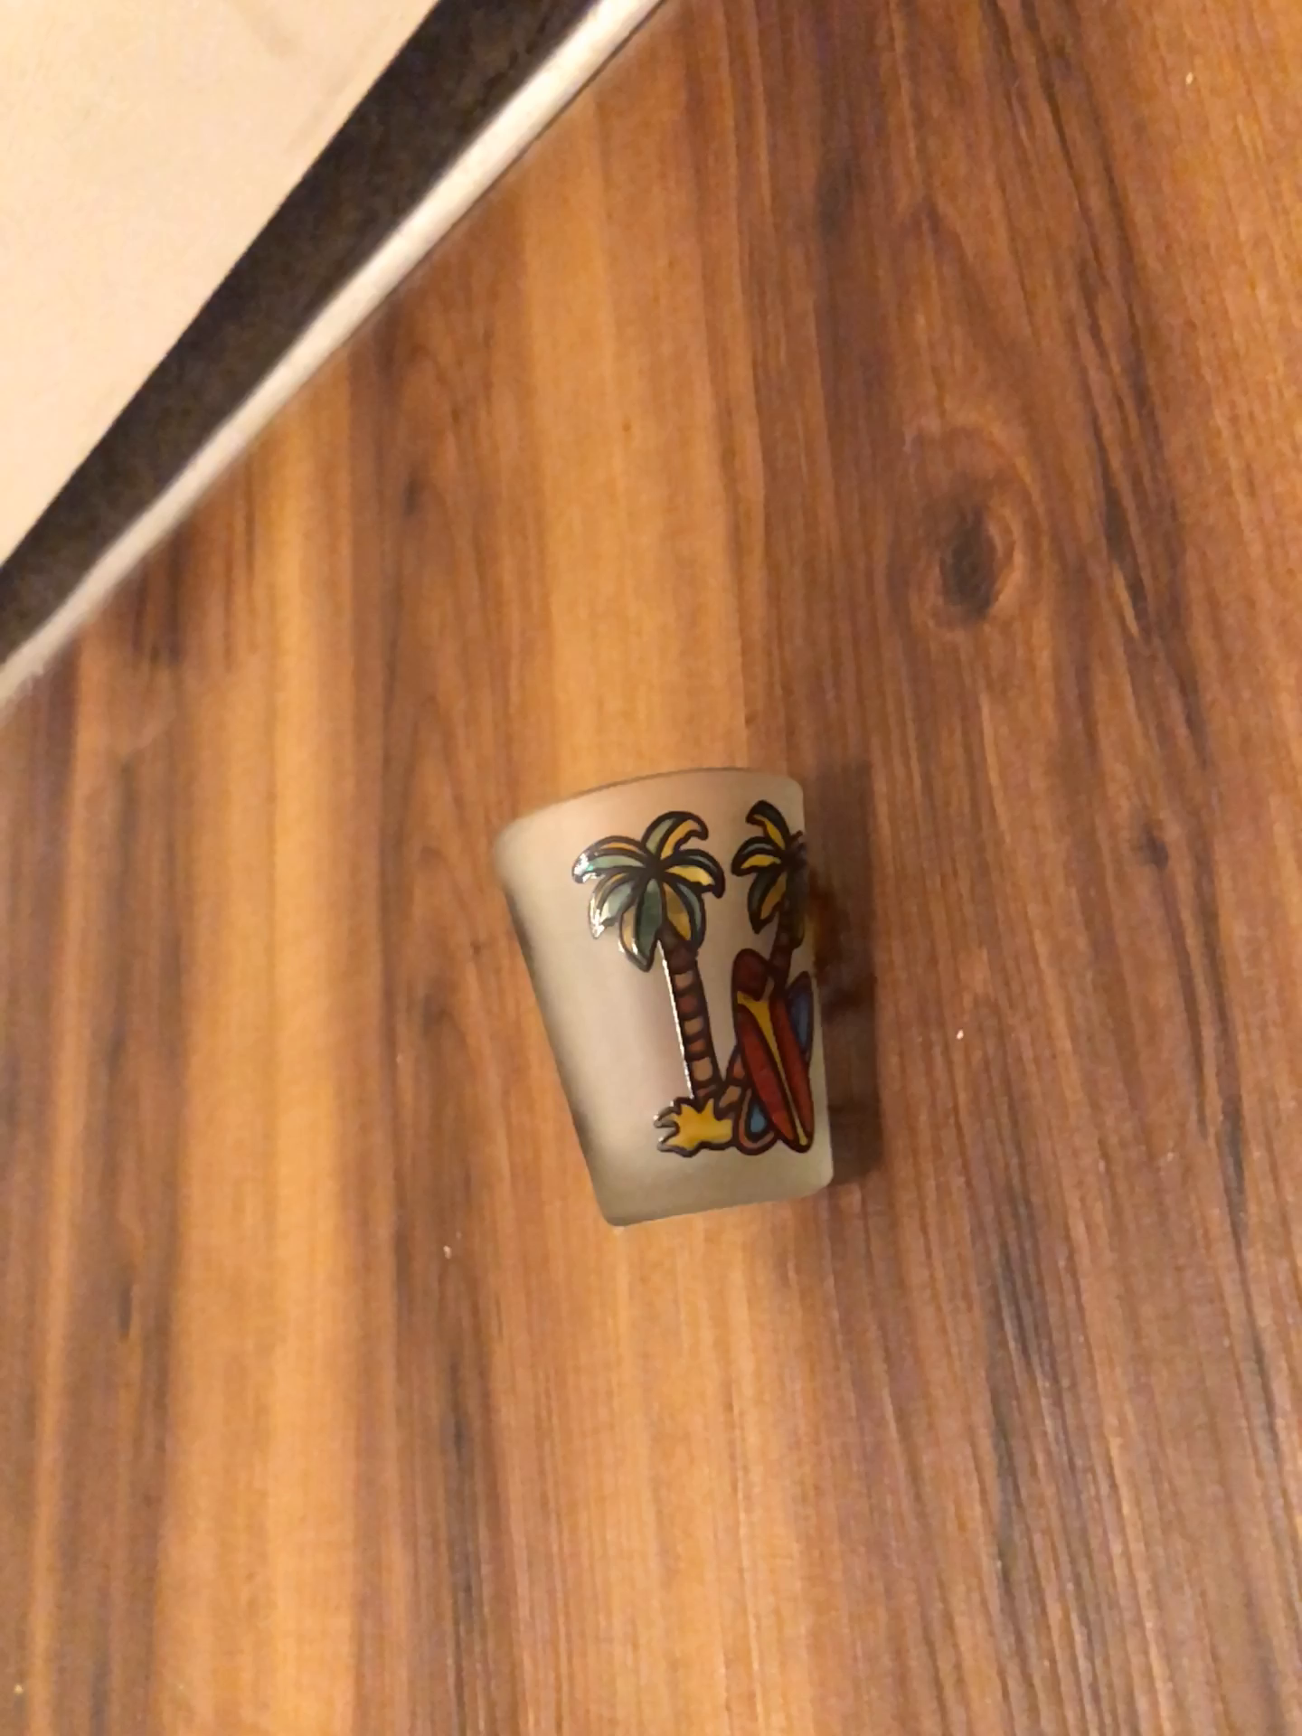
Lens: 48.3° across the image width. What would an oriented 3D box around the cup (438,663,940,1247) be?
[{"bbox_3d":[0.003,0.016,0.212,0.050,0.045,0.070,-24,65,46],"label":"cup"}]
